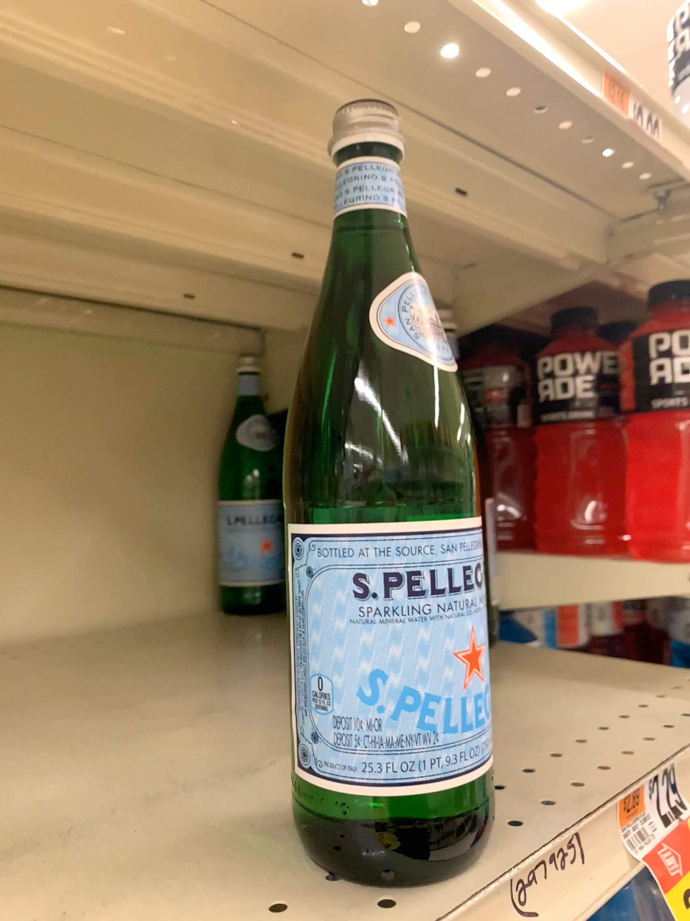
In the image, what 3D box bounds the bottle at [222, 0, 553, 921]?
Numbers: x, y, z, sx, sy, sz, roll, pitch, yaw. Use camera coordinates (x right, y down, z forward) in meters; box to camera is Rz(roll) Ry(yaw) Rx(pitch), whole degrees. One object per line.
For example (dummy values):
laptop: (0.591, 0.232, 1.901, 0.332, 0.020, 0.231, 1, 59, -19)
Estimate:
bottle: (0.015, -0.002, 0.284, 0.090, 0.290, 0.090, -1, -2, 0)
